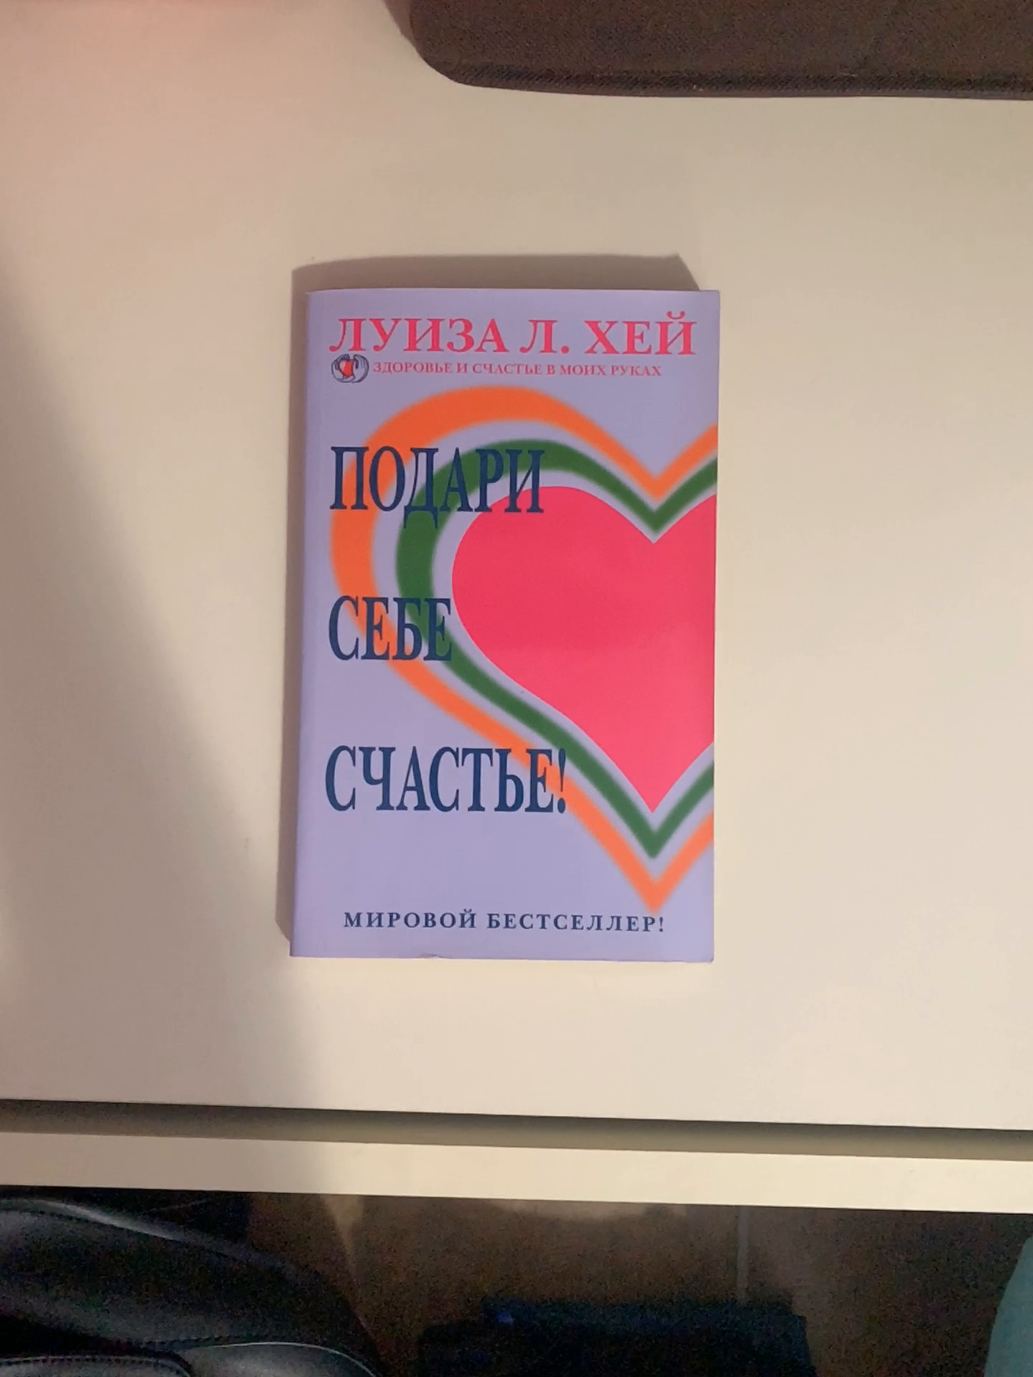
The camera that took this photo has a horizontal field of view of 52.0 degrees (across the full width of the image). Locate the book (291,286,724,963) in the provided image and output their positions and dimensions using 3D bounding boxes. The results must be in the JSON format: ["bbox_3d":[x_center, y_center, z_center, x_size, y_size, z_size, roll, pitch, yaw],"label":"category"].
[{"bbox_3d":[-0.002,-0.019,0.313,0.123,0.016,0.194,1,88,0],"label":"book"}]
